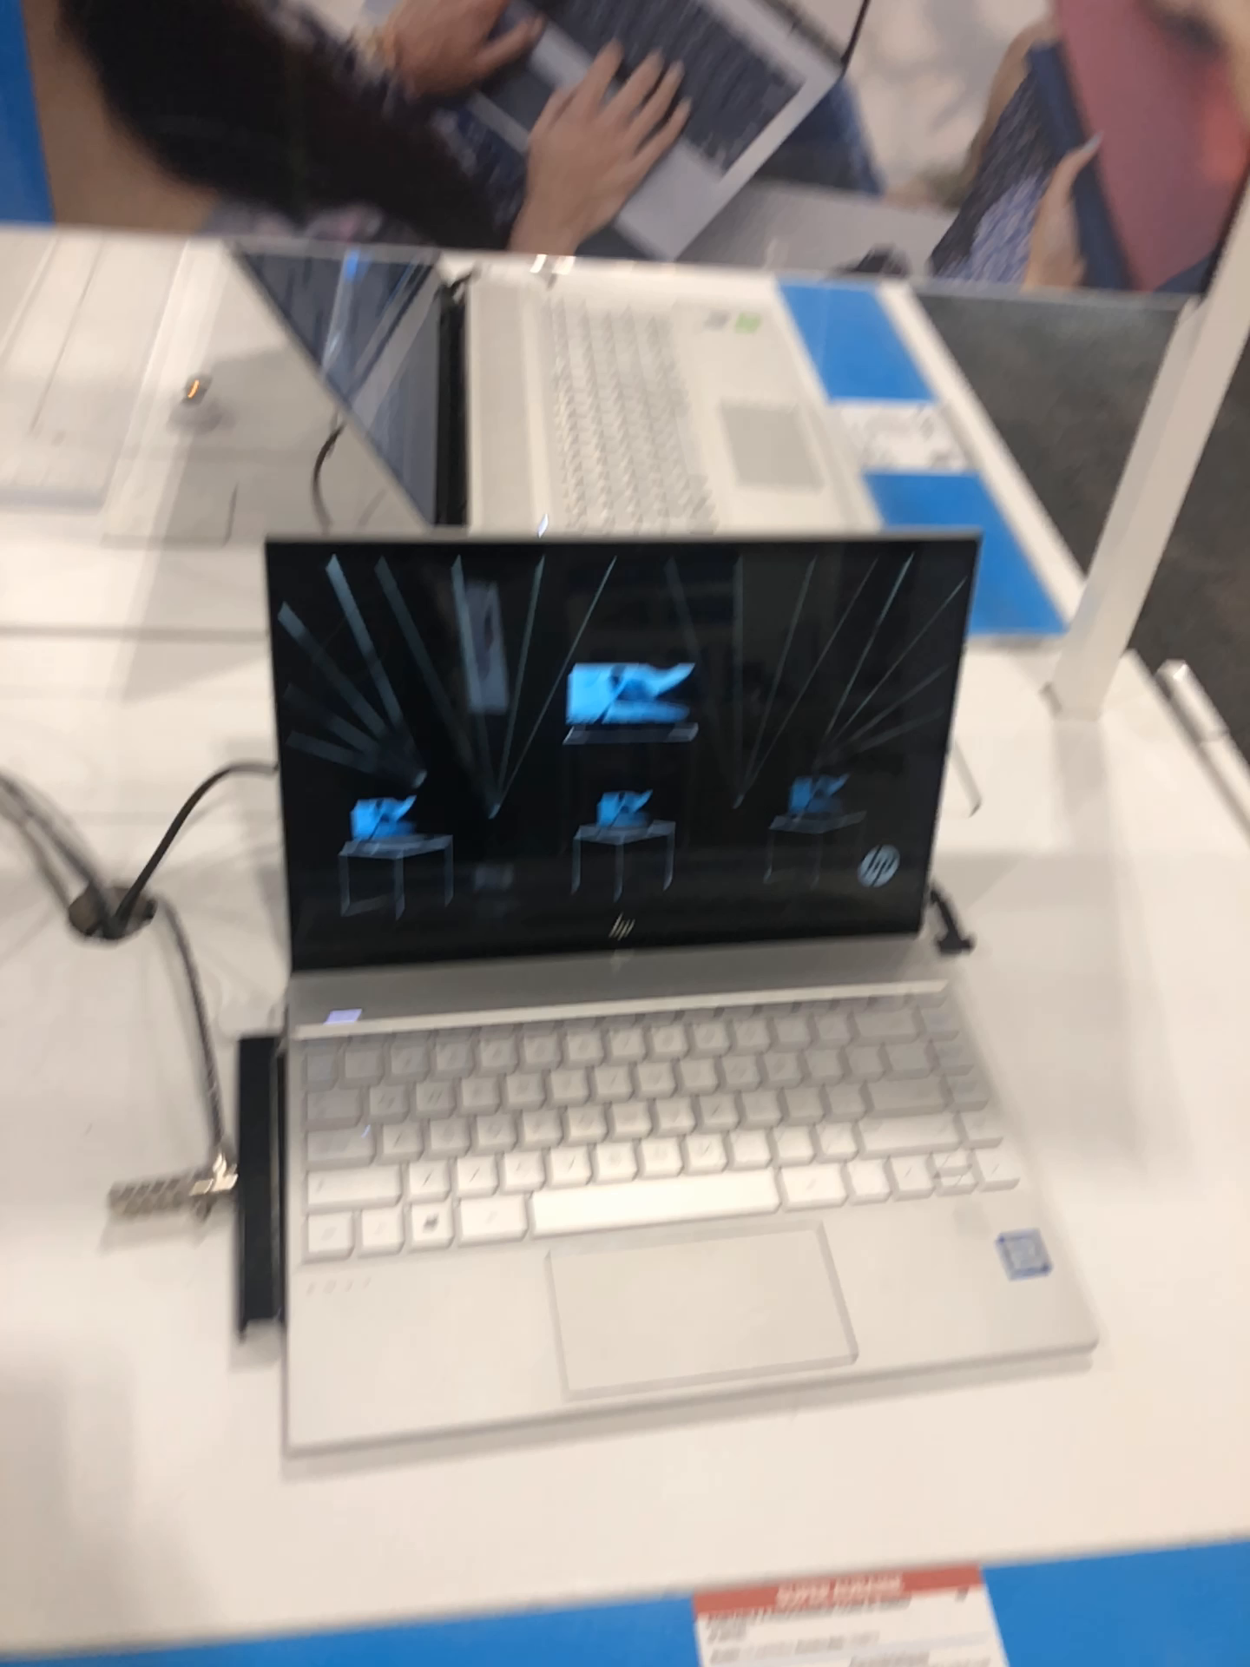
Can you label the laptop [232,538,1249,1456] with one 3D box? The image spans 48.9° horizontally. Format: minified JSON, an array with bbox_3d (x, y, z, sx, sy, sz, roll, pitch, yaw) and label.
[{"bbox_3d":[0.018,0.041,0.528,0.298,0.182,0.273,-3,44,-12],"label":"laptop"}]
